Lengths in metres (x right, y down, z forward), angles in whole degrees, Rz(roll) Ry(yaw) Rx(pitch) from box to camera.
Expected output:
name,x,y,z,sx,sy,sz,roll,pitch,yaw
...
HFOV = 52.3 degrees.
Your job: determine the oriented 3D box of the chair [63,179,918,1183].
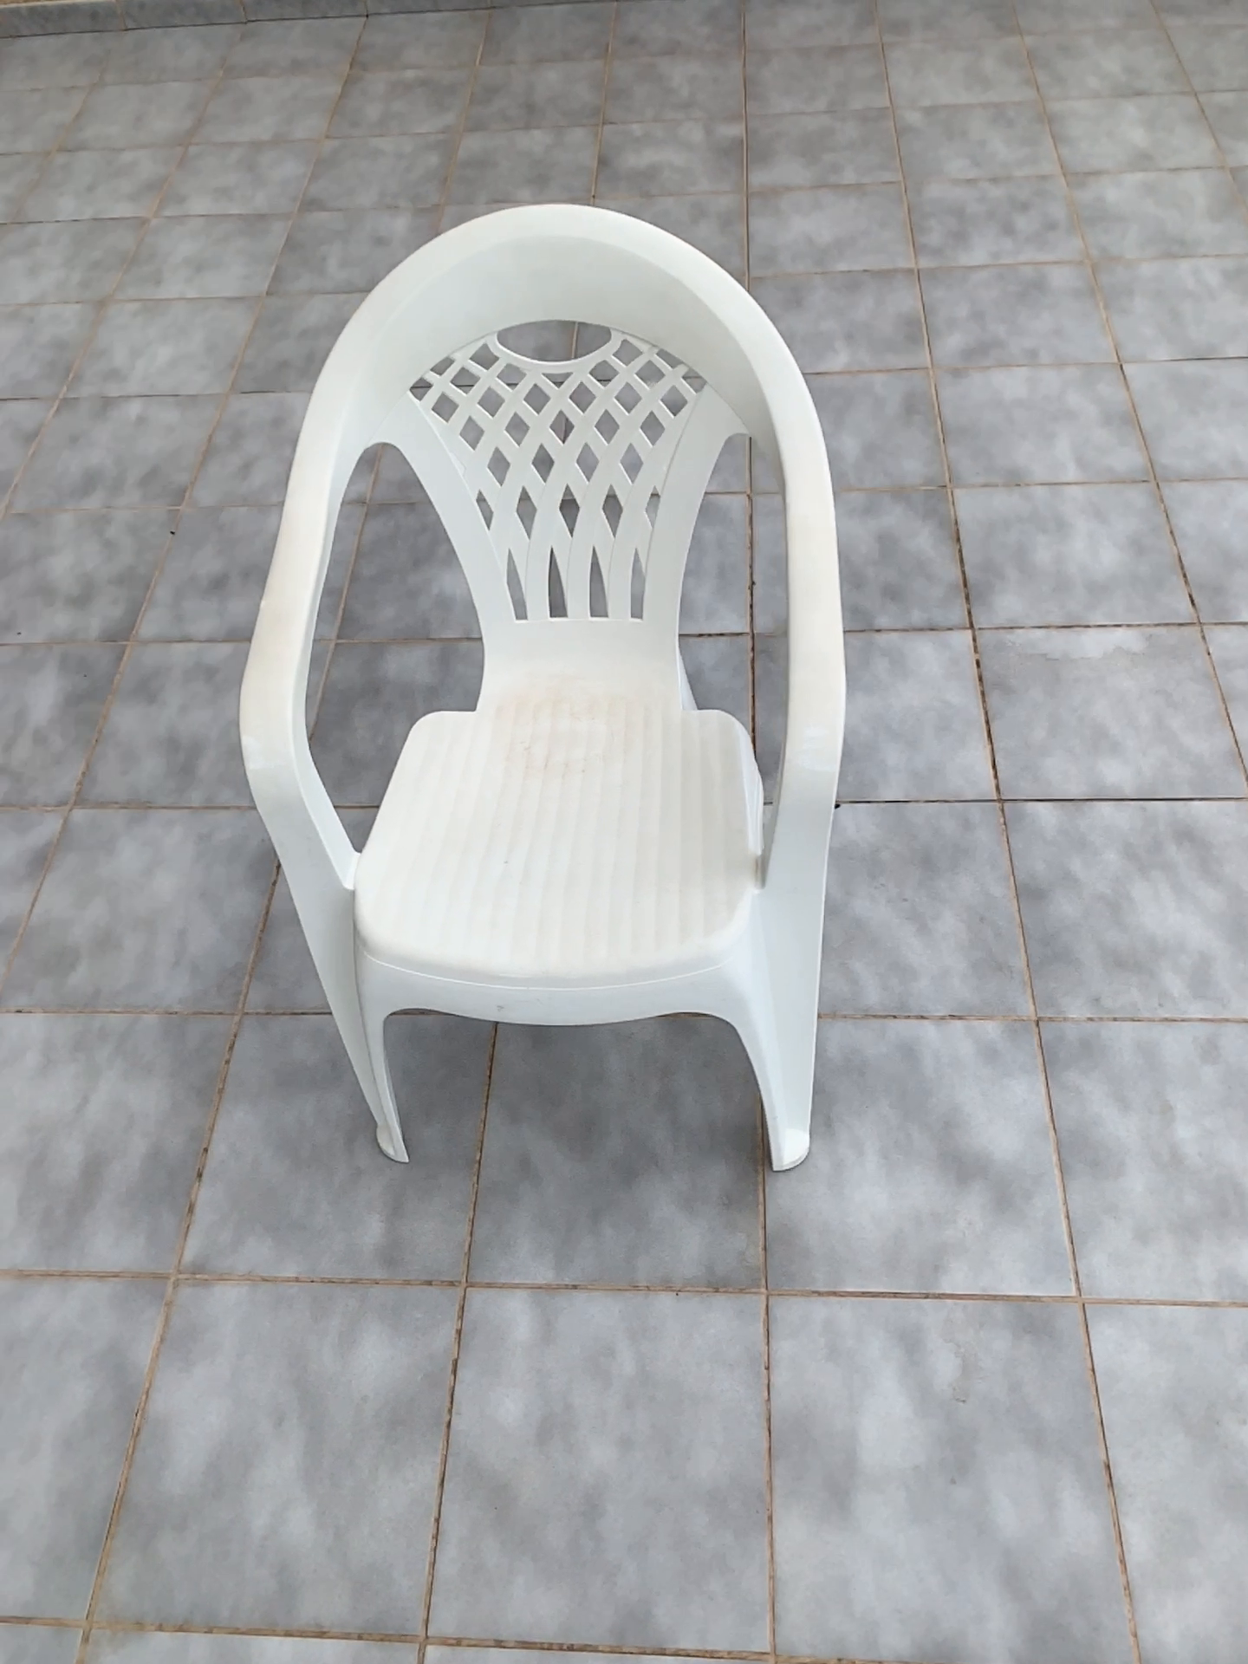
name,x,y,z,sx,sy,sz,roll,pitch,yaw
chair,-0.050,-0.095,1.309,0.543,0.823,0.611,0,54,5
